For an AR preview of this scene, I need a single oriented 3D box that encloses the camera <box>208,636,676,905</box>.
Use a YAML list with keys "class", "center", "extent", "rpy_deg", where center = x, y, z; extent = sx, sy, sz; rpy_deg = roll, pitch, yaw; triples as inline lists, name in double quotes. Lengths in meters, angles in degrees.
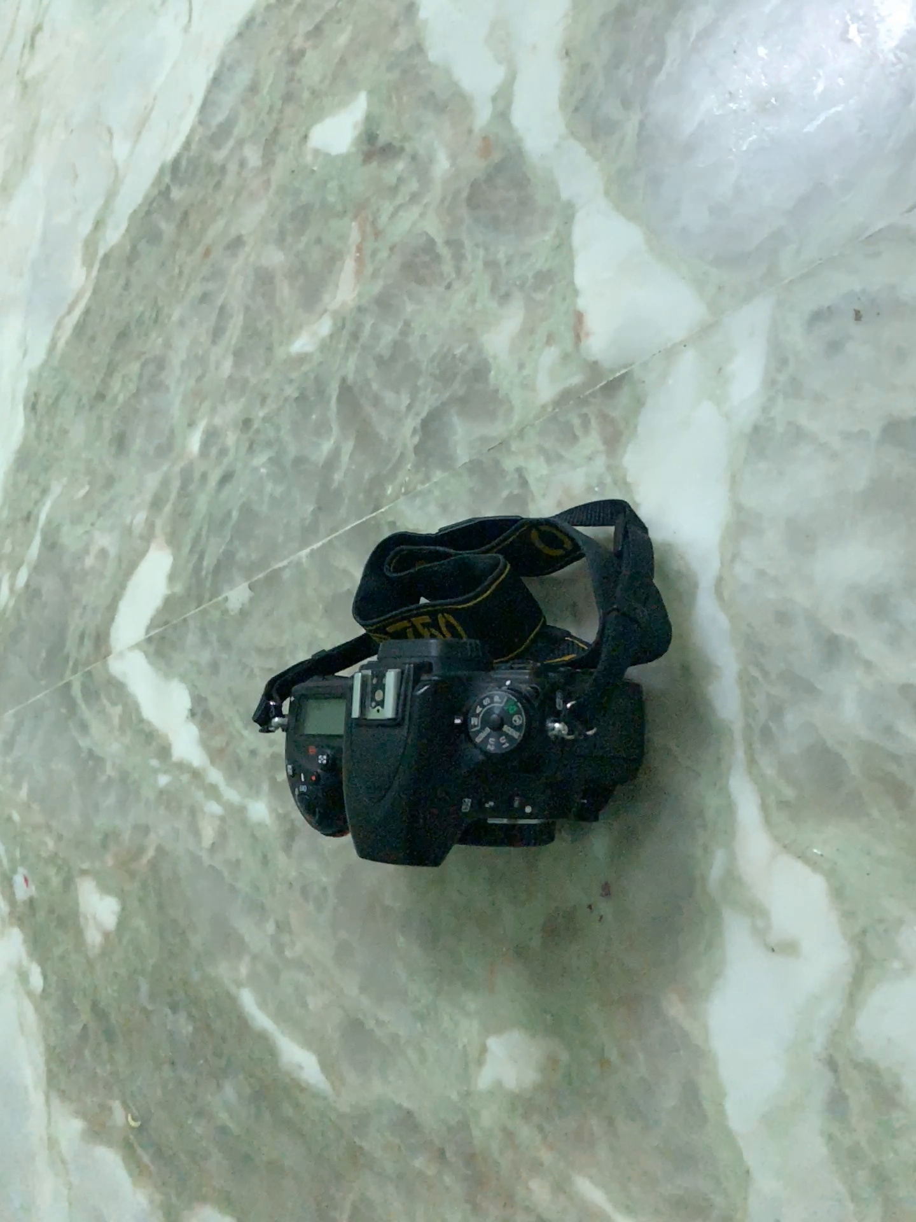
- class: "camera"
  center: [-0.007, 0.059, 0.368]
  extent: [0.151, 0.099, 0.080]
  rpy_deg: [-4, 79, 38]
